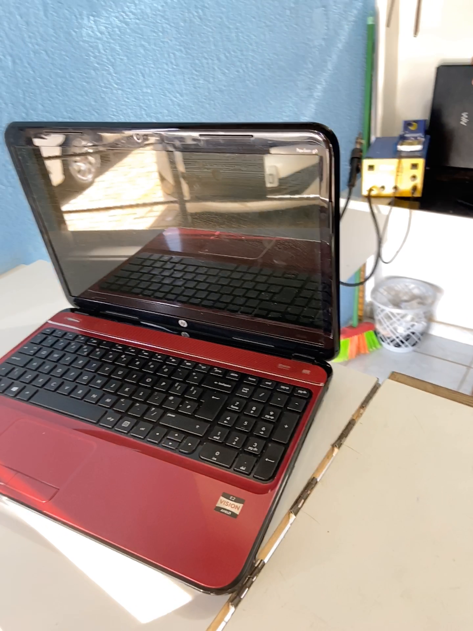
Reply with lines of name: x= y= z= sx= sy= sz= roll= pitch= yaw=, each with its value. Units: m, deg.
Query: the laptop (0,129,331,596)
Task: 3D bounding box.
laptop: x=-0.130 y=-0.007 z=0.407 sx=0.356 sy=0.221 sz=0.228 roll=10 pitch=38 yaw=26
